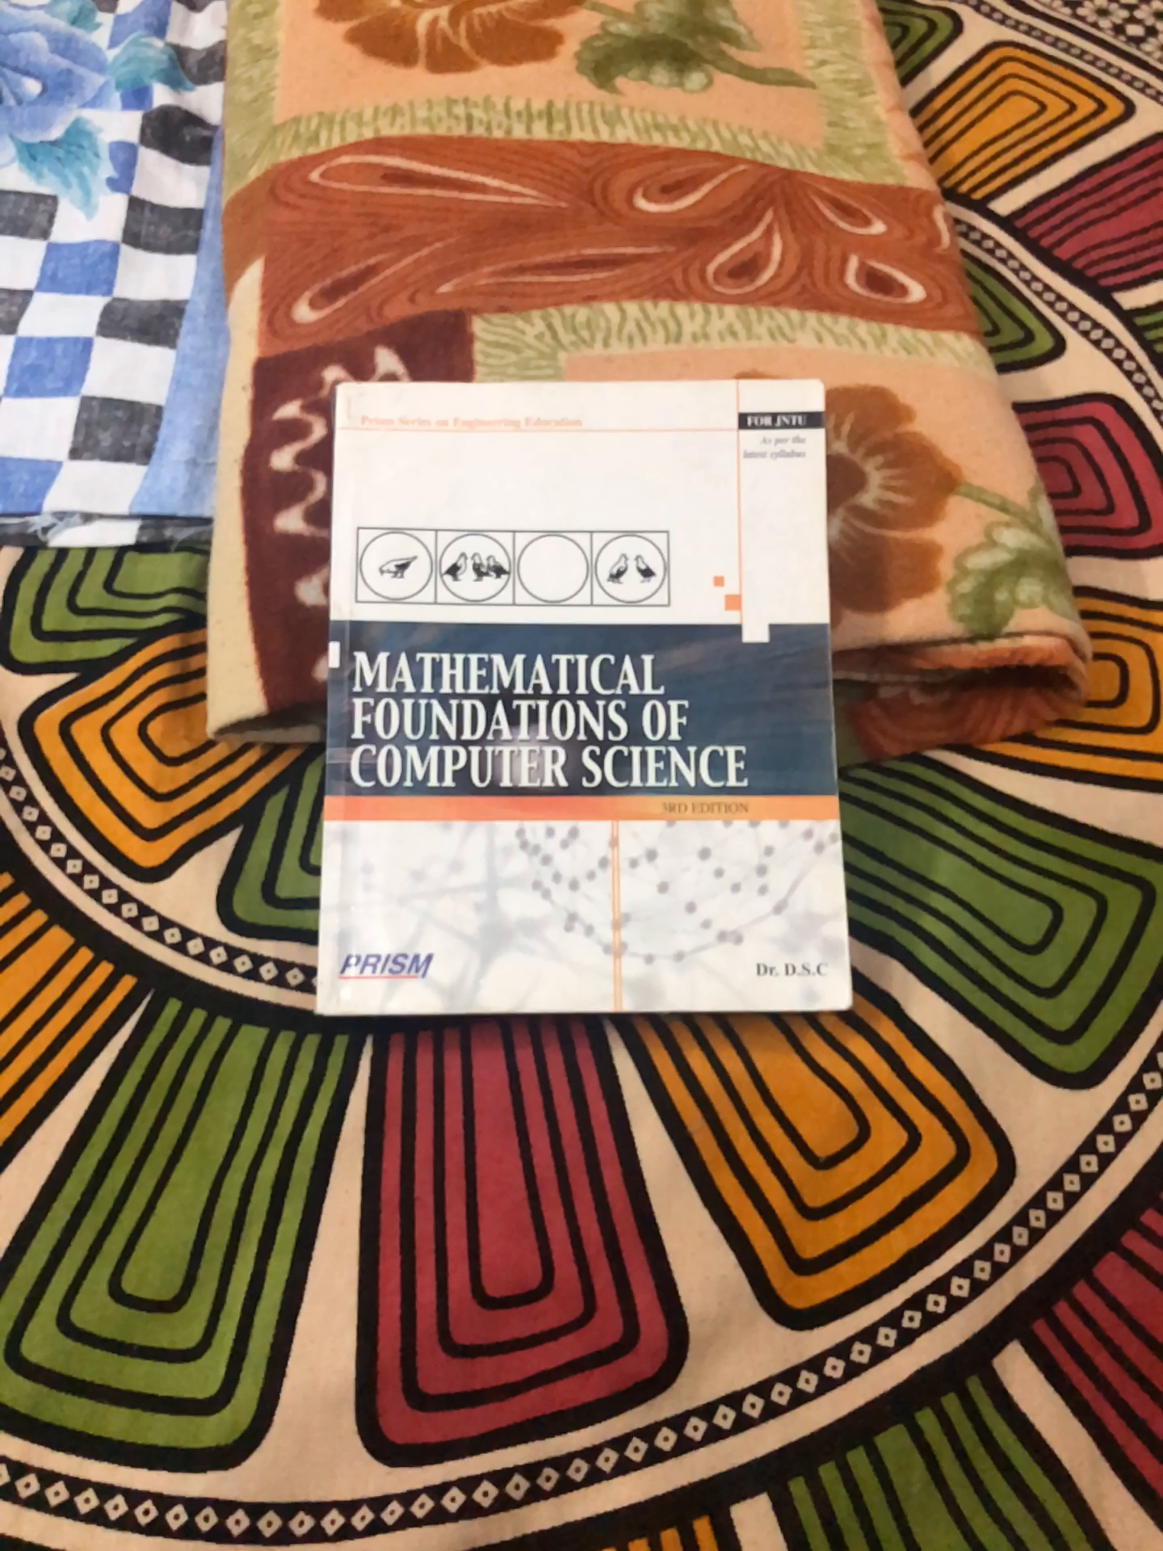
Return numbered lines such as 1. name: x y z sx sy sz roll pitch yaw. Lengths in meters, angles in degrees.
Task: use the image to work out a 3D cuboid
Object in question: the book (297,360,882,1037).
1. book: 0.000 -0.029 0.480 0.190 0.060 0.240 -1 75 0
